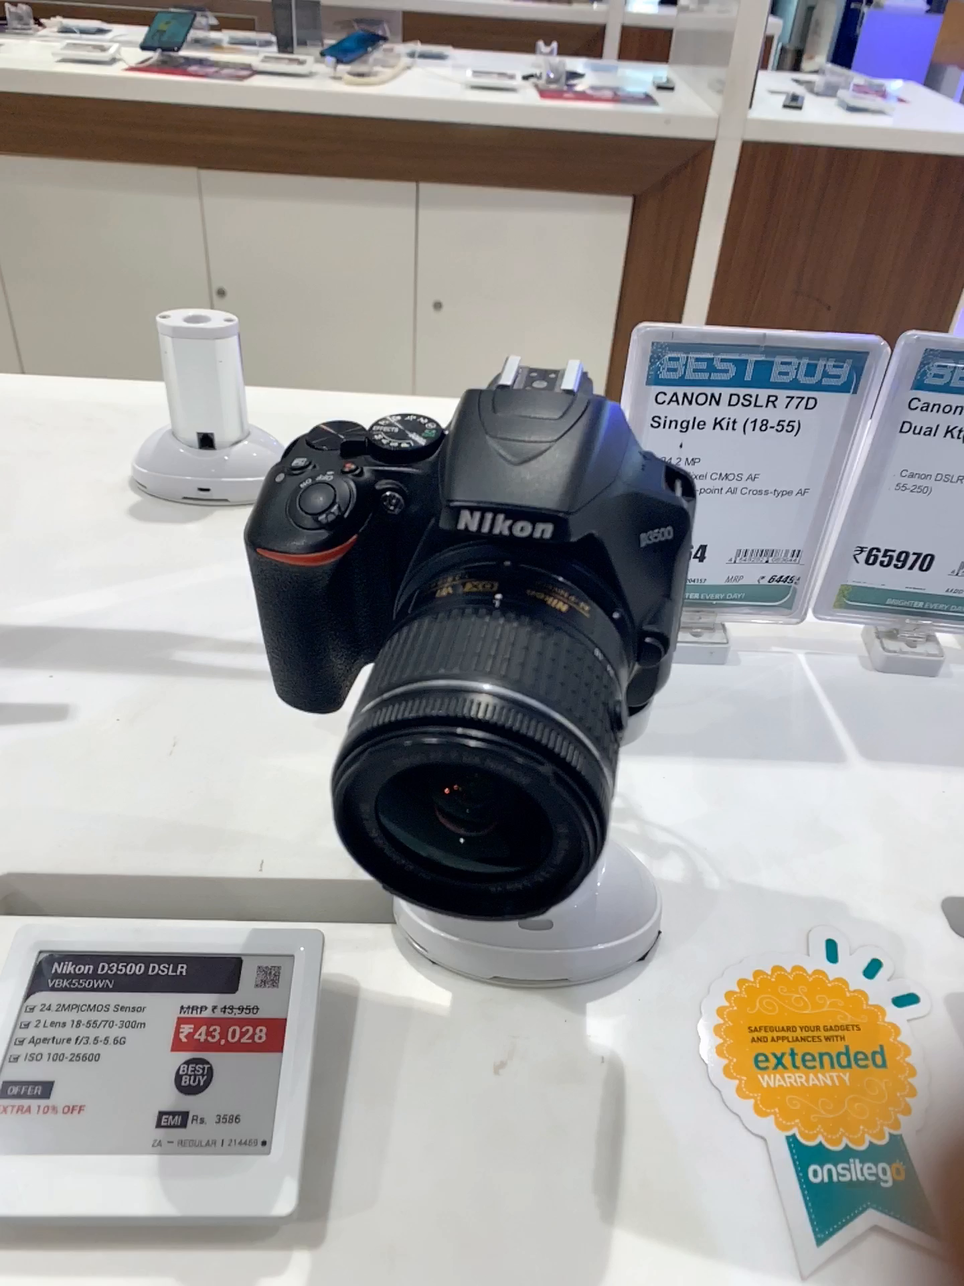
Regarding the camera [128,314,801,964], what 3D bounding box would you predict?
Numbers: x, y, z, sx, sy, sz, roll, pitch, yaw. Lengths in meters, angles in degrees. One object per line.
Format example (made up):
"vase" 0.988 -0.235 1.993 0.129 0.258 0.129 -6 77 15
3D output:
"camera" 0.001 -0.007 0.227 0.110 0.090 0.103 9 38 5
